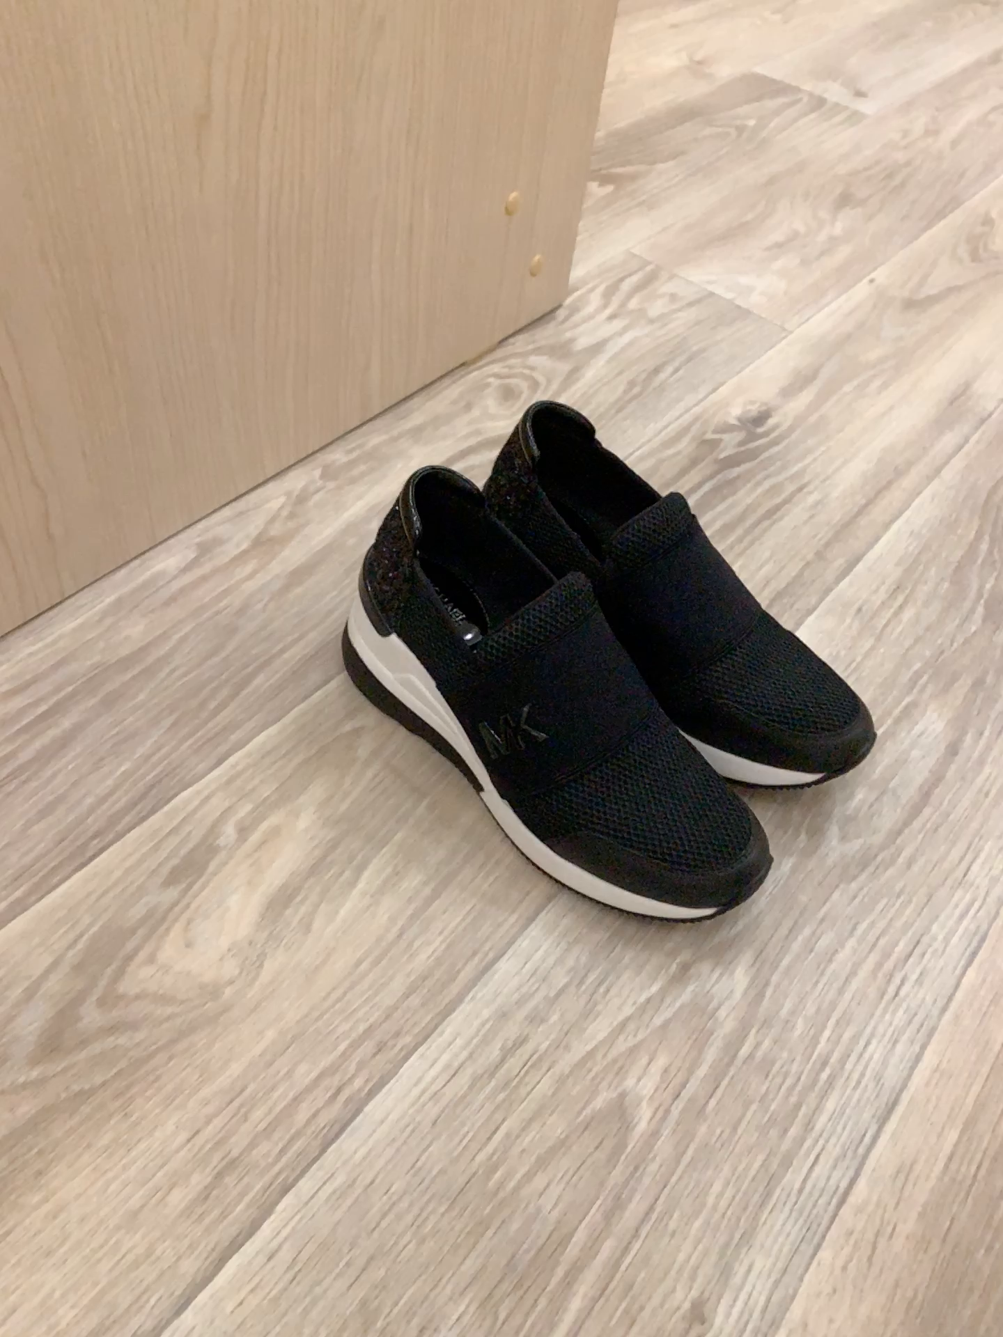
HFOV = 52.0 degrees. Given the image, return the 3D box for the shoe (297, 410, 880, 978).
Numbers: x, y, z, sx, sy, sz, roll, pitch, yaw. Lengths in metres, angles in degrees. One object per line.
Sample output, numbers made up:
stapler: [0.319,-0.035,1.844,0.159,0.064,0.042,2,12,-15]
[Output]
shoe: [0.025,0.004,0.503,0.260,0.119,0.099,38,54,23]

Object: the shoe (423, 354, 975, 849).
shoe: [0.090,-0.043,0.557,0.260,0.119,0.099,36,53,21]
